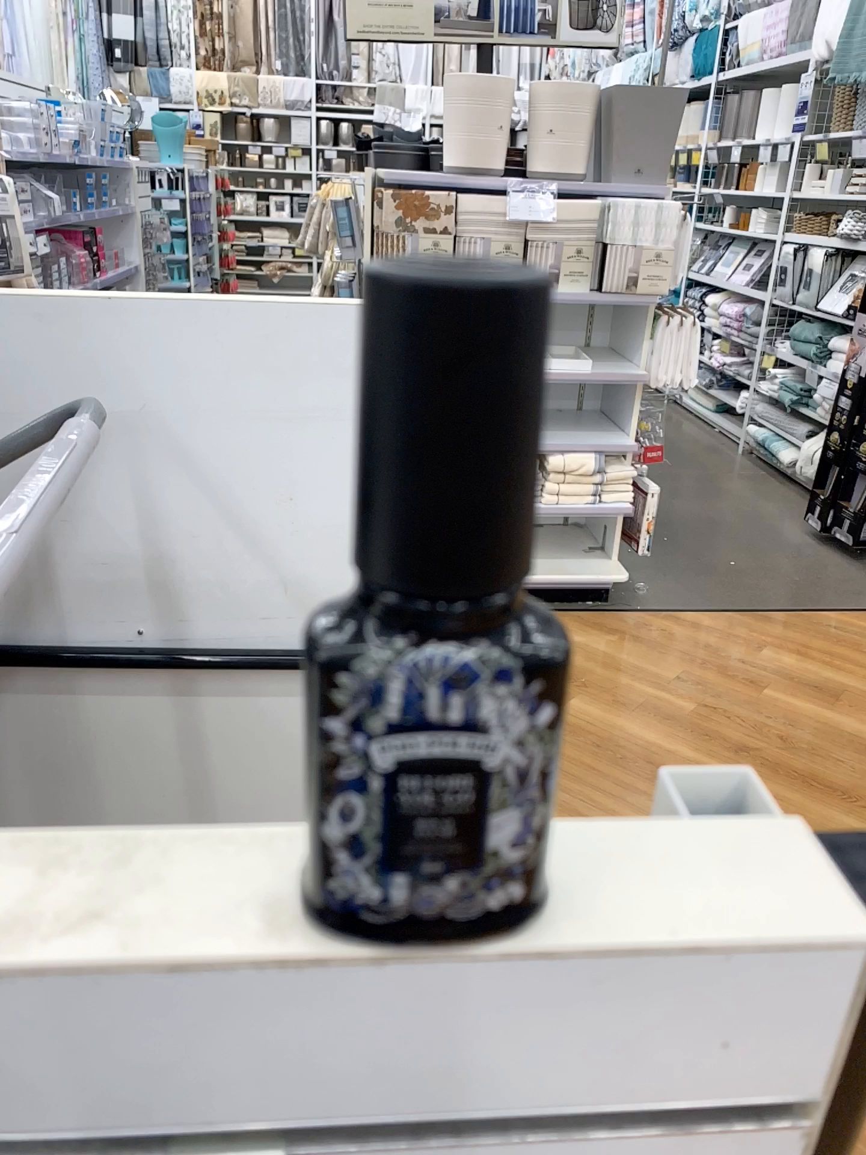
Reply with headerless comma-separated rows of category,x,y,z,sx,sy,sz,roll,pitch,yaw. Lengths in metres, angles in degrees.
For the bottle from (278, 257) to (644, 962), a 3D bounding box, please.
bottle,0.000,0.010,0.159,0.050,0.123,0.033,0,24,-6
